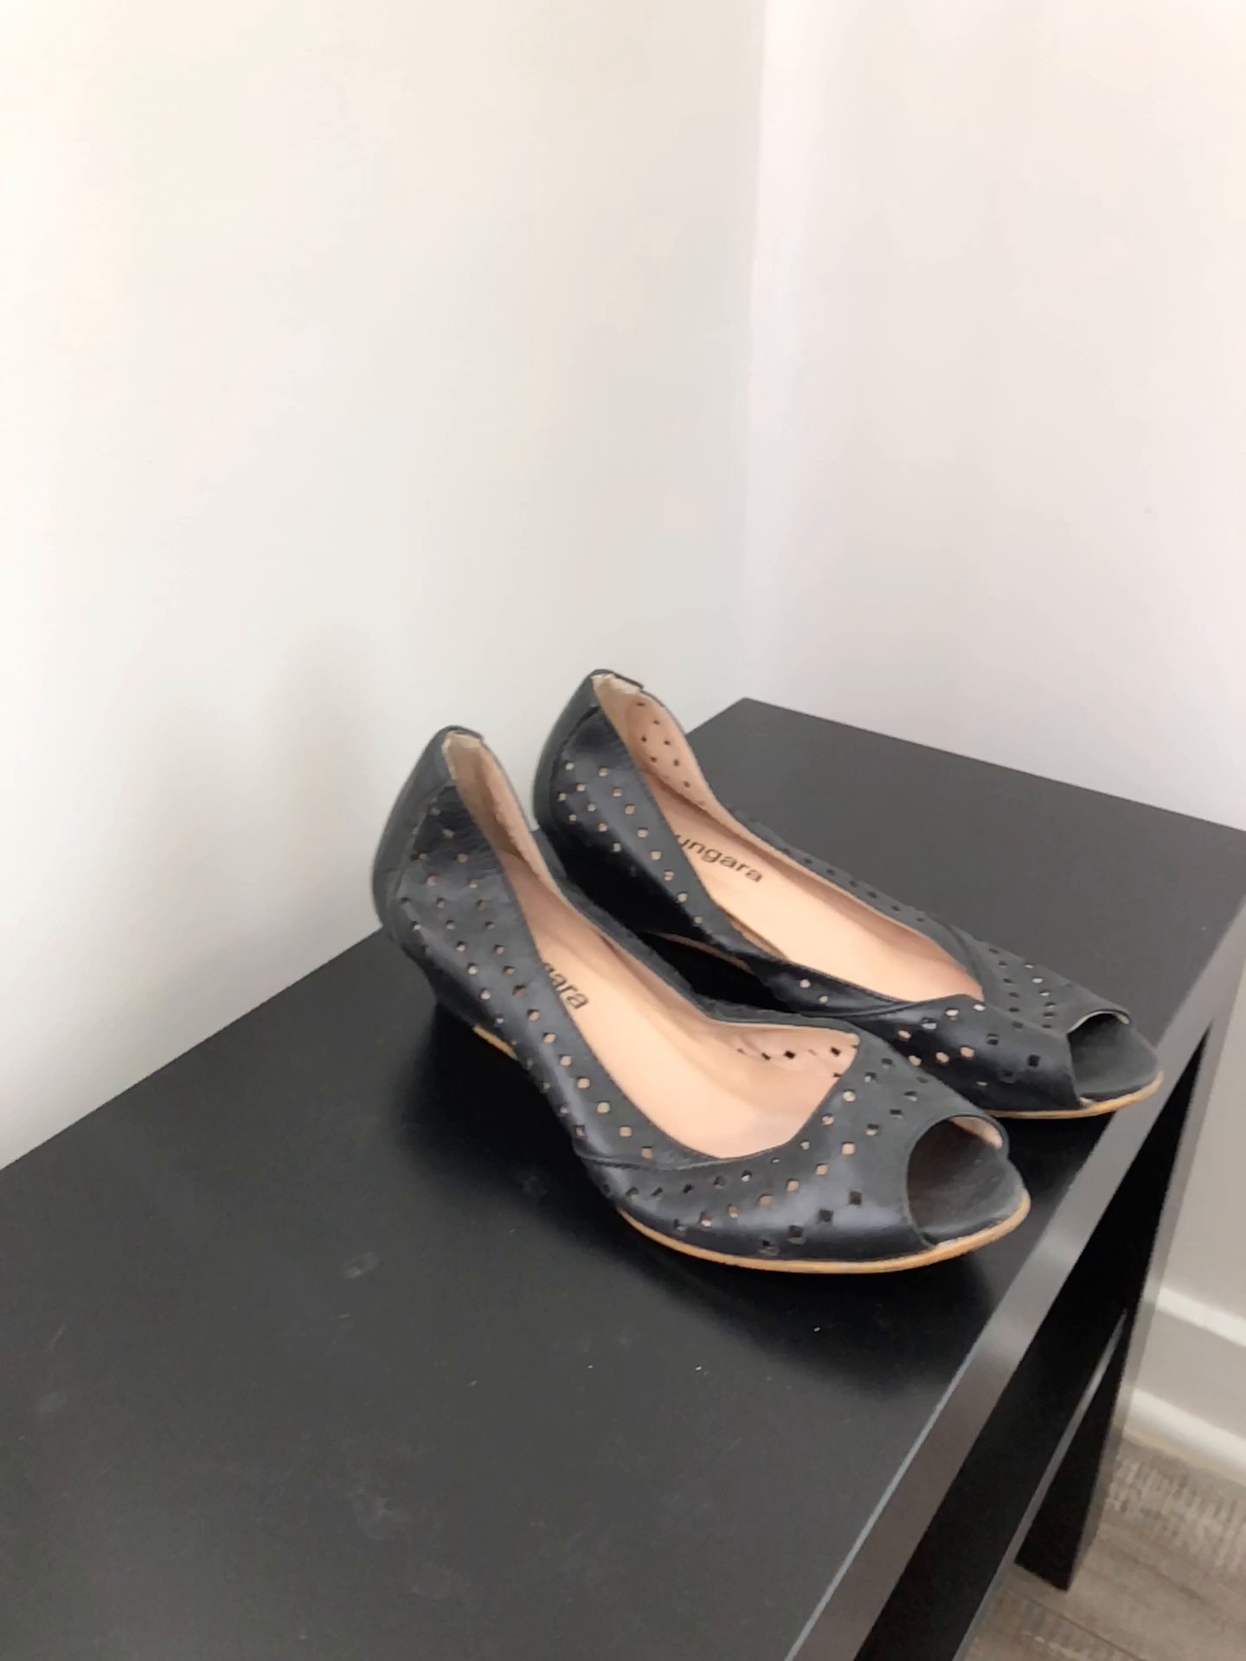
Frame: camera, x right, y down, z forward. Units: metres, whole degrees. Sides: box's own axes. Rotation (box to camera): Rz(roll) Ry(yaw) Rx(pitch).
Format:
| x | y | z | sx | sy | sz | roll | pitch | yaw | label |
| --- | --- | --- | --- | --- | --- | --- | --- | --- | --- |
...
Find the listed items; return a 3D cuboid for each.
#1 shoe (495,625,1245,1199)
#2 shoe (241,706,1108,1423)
| x | y | z | sx | sy | sz | roll | pitch | yaw | label |
| --- | --- | --- | --- | --- | --- | --- | --- | --- | --- |
| 0.072 | 0.014 | 0.454 | 0.221 | 0.100 | 0.085 | 18 | 33 | 30 | shoe |
| 0.005 | 0.051 | 0.402 | 0.231 | 0.100 | 0.085 | 20 | 34 | 31 | shoe |
